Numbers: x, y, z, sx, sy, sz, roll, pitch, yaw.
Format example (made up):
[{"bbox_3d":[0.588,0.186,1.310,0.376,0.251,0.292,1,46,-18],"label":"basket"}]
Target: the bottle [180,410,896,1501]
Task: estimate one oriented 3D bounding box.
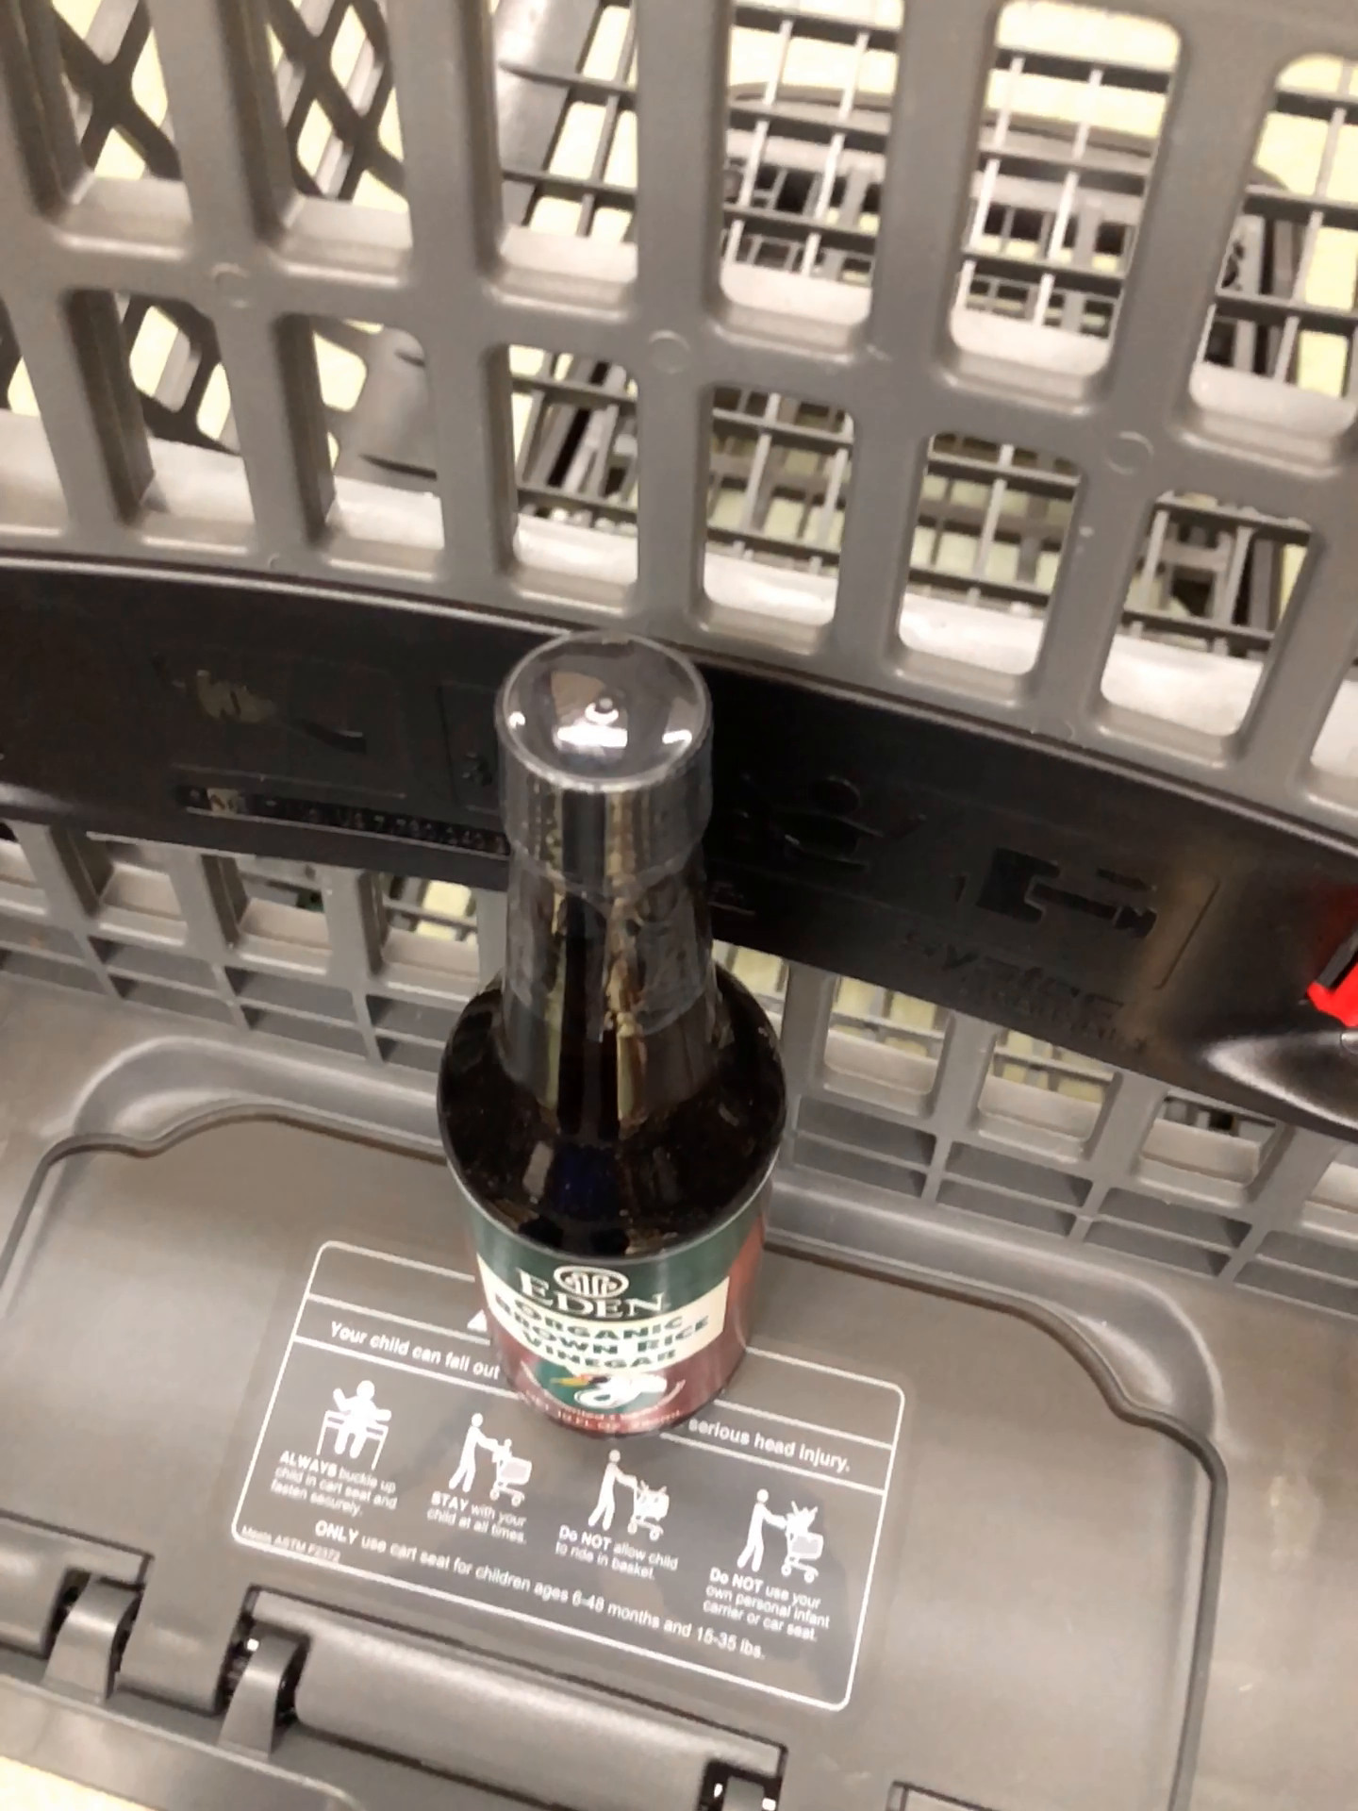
[{"bbox_3d":[-0.014,0.025,0.253,0.070,0.190,0.070,1,50,-1],"label":"bottle"}]
